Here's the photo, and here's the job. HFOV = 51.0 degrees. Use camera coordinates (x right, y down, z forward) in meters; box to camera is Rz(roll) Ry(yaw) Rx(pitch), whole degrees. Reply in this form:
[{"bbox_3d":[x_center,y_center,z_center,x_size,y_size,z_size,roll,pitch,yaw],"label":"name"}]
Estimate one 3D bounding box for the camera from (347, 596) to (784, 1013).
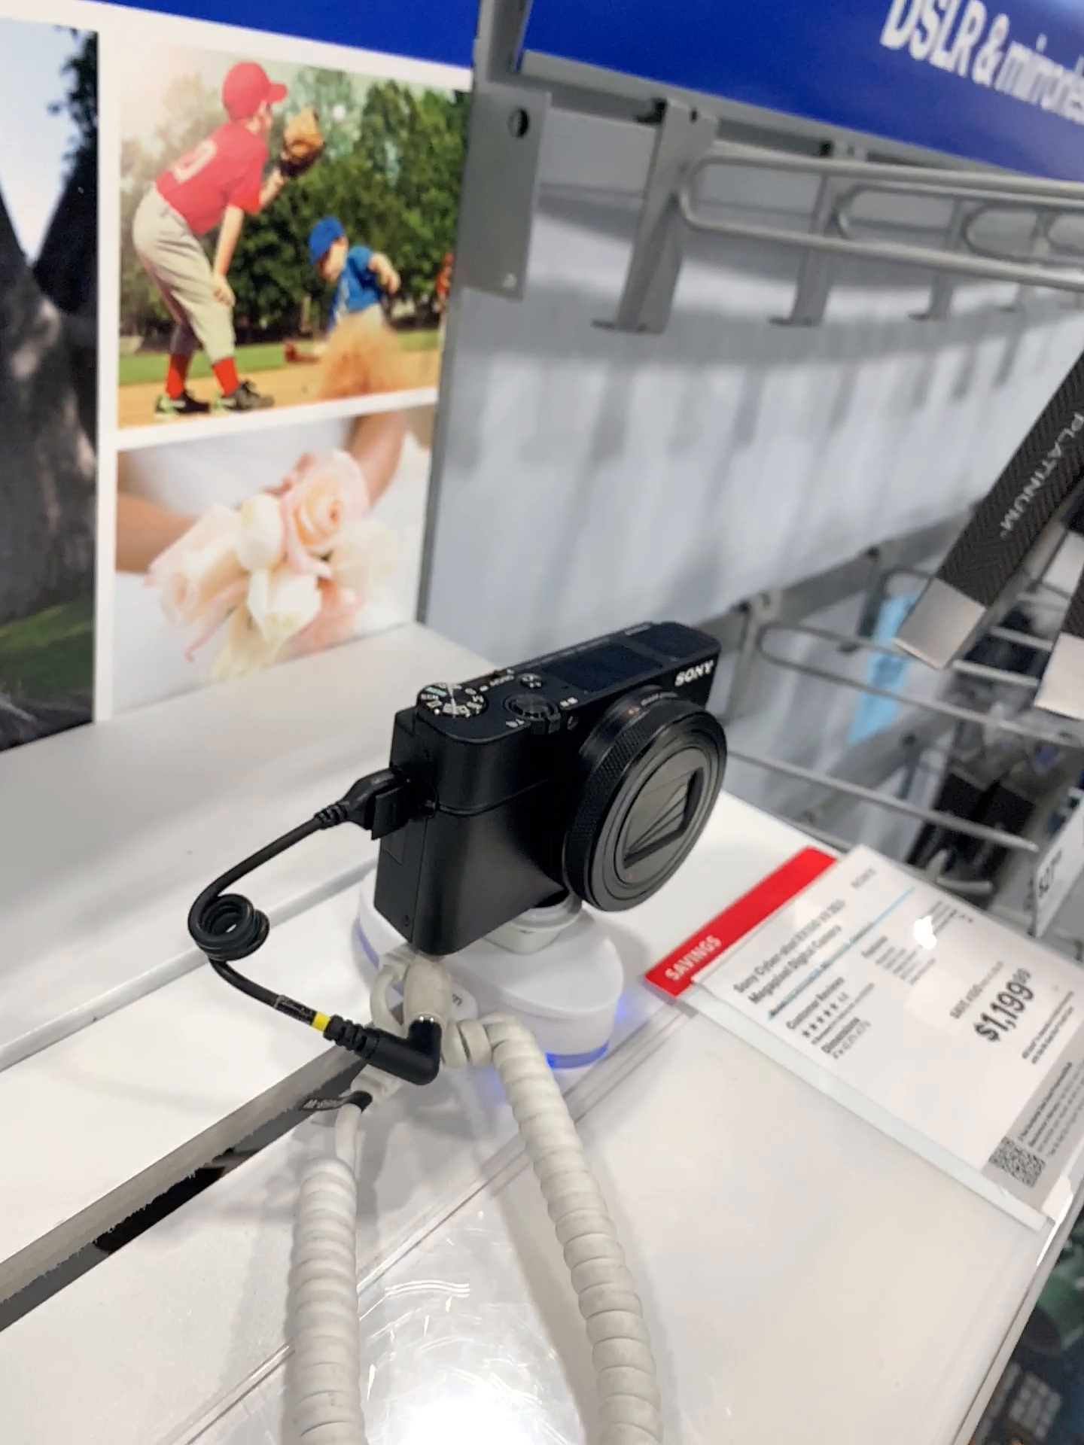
[{"bbox_3d":[0.008,0.013,0.279,0.043,0.060,0.105,27,32,32],"label":"camera"}]
